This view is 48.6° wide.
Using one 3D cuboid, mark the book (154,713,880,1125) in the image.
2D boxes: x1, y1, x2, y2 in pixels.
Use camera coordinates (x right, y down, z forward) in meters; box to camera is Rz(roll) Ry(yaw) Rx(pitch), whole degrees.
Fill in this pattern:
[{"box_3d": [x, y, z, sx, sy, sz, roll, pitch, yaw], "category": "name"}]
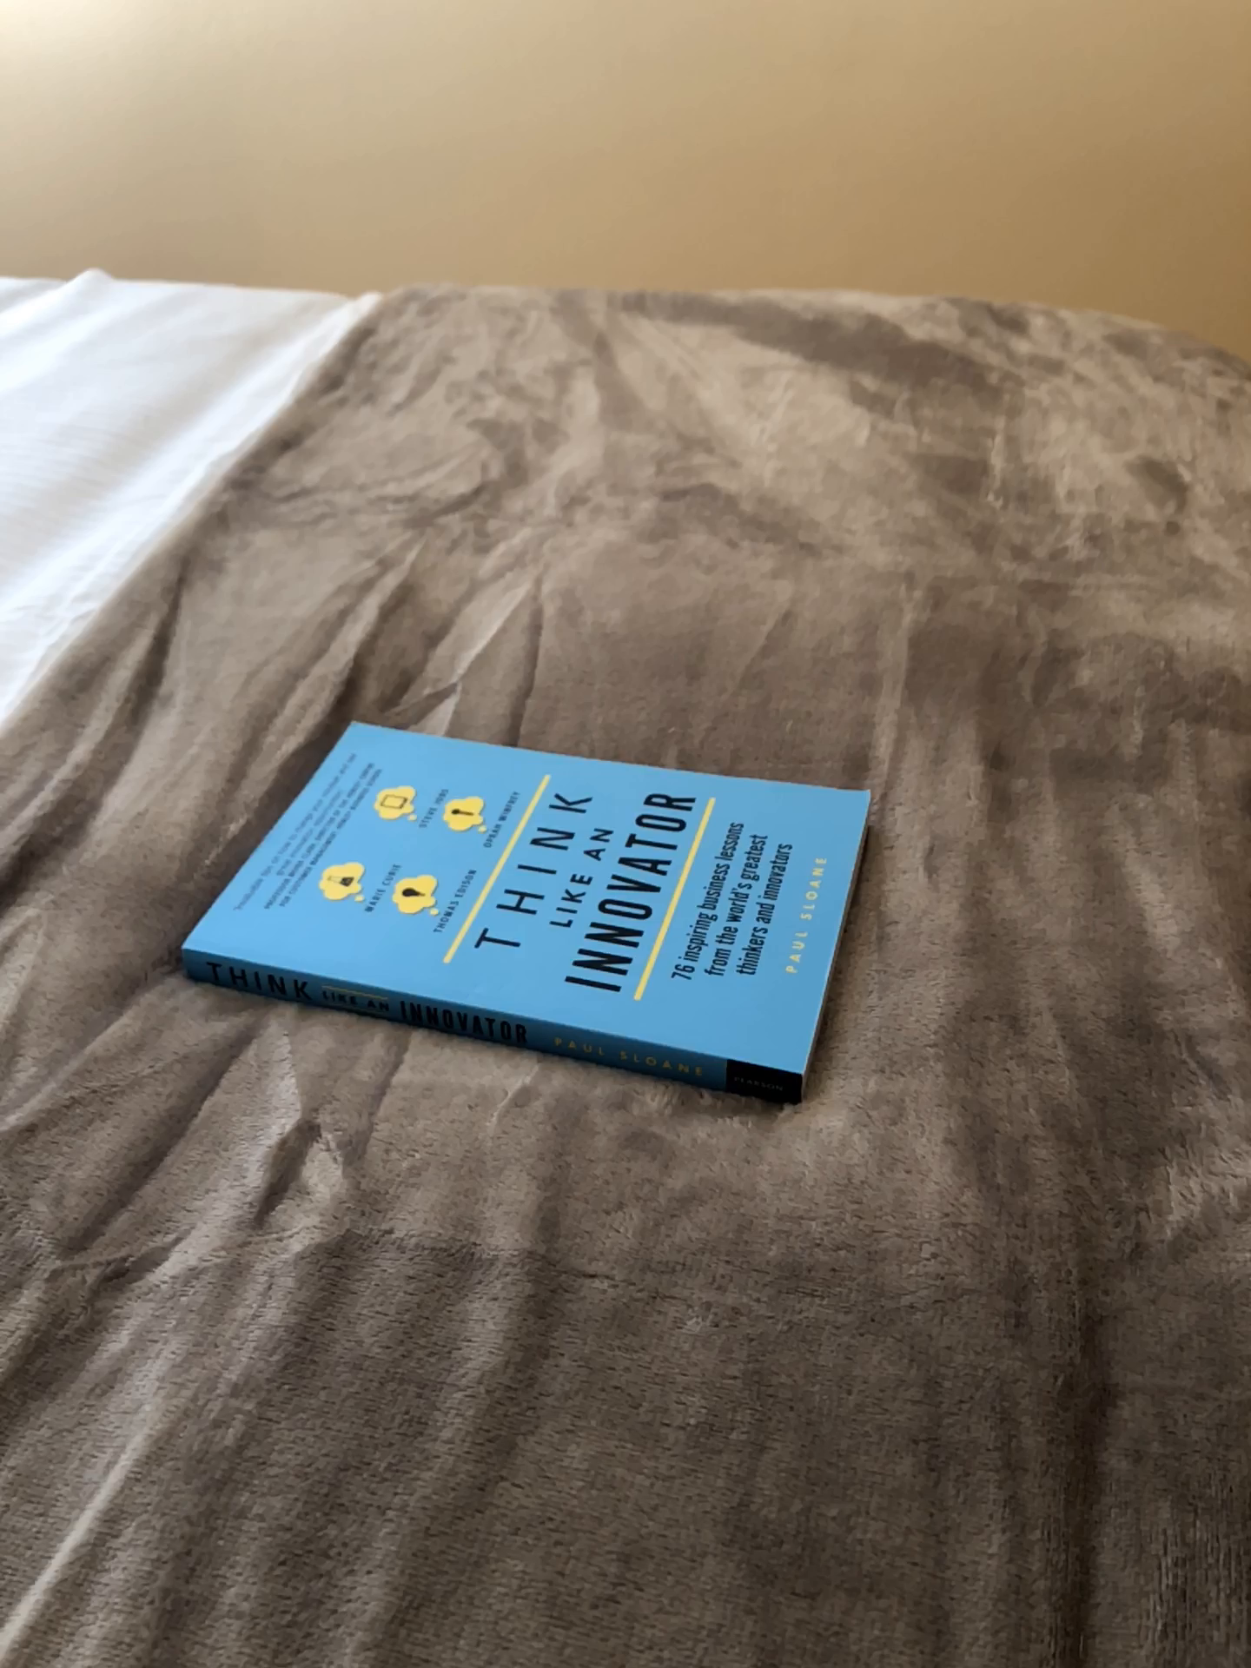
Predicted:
[{"box_3d": [-0.031, 0.019, 0.490, 0.220, 0.020, 0.141, 8, 43, 14], "category": "book"}]
